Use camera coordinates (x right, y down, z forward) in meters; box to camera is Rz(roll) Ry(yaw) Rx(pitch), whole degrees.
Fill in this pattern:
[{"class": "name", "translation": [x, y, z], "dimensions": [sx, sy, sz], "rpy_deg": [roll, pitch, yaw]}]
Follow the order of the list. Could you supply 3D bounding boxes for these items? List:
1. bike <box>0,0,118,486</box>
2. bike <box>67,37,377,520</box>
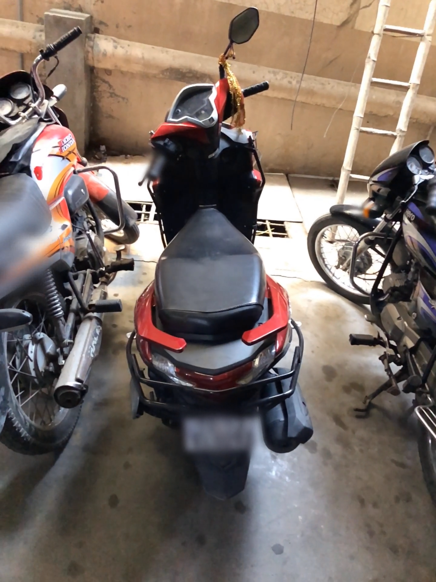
[{"class": "bike", "translation": [-0.881, -0.332, 1.825], "dimensions": [0.838, 1.089, 1.658], "rpy_deg": [5, 35, -11]}, {"class": "bike", "translation": [-0.154, -0.136, 1.842], "dimensions": [0.630, 1.139, 1.446], "rpy_deg": [5, 37, -11]}]
